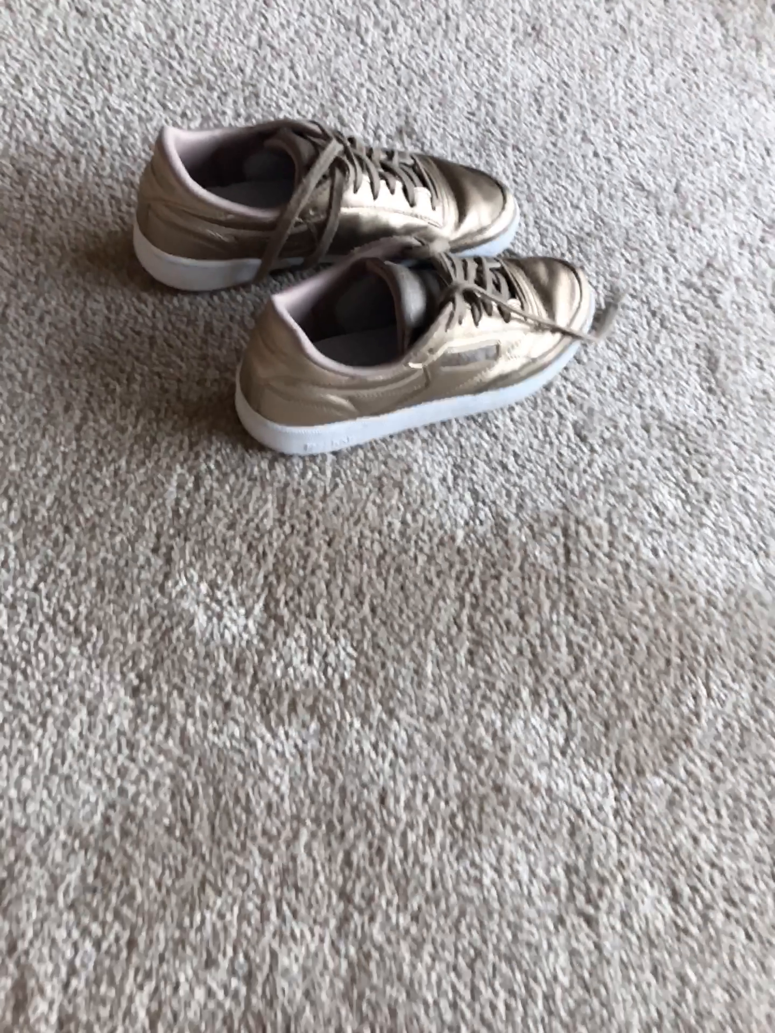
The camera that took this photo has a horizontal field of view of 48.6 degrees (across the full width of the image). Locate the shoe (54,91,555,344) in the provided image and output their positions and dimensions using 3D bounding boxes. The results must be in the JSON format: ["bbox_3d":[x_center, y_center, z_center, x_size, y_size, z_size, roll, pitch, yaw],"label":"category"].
[{"bbox_3d":[-0.049,-0.194,0.542,0.280,0.070,0.110,-12,69,-19],"label":"shoe"}]

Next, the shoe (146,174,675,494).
[{"bbox_3d":[0.015,-0.114,0.504,0.280,0.070,0.110,-18,70,-21],"label":"shoe"}]
